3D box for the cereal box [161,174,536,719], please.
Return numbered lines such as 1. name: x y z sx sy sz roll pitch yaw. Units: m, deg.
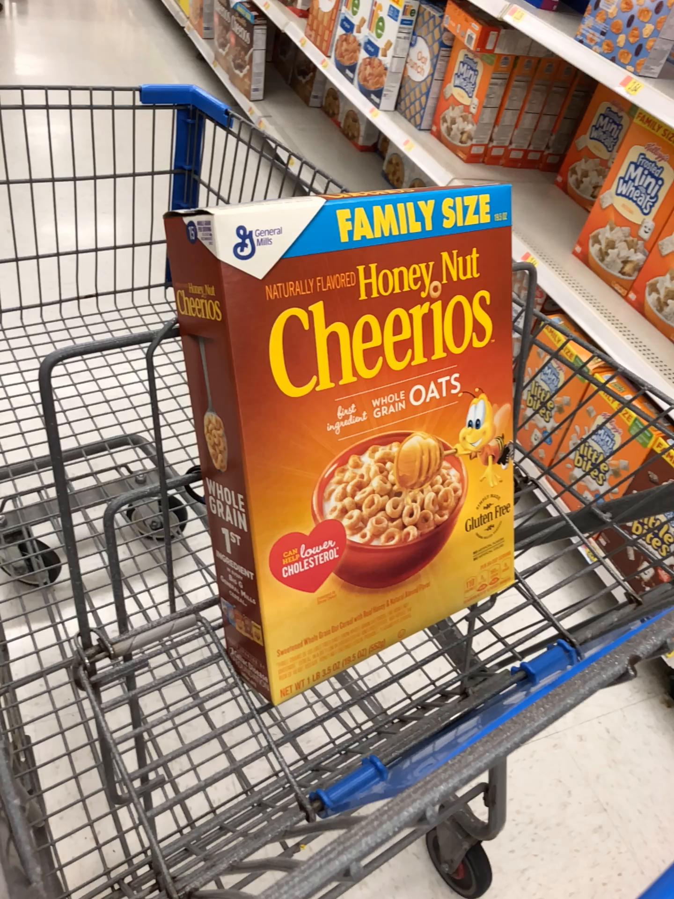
1. cereal box: 0.029 -0.014 0.534 0.250 0.330 0.070 -17 23 -32
